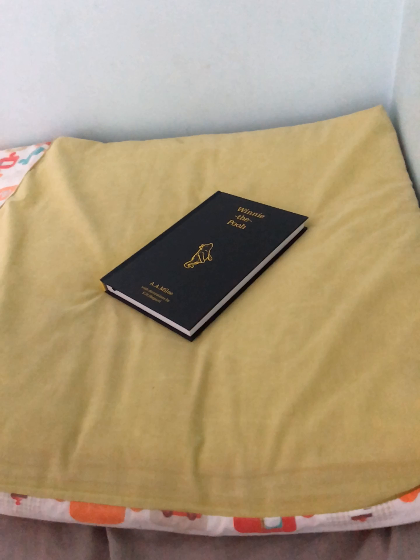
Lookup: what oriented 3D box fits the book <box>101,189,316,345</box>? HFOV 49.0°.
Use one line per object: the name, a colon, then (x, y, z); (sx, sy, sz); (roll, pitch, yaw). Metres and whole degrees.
book: (0.002, -0.031, 0.555); (0.150, 0.020, 0.221); (24, 53, 35)
